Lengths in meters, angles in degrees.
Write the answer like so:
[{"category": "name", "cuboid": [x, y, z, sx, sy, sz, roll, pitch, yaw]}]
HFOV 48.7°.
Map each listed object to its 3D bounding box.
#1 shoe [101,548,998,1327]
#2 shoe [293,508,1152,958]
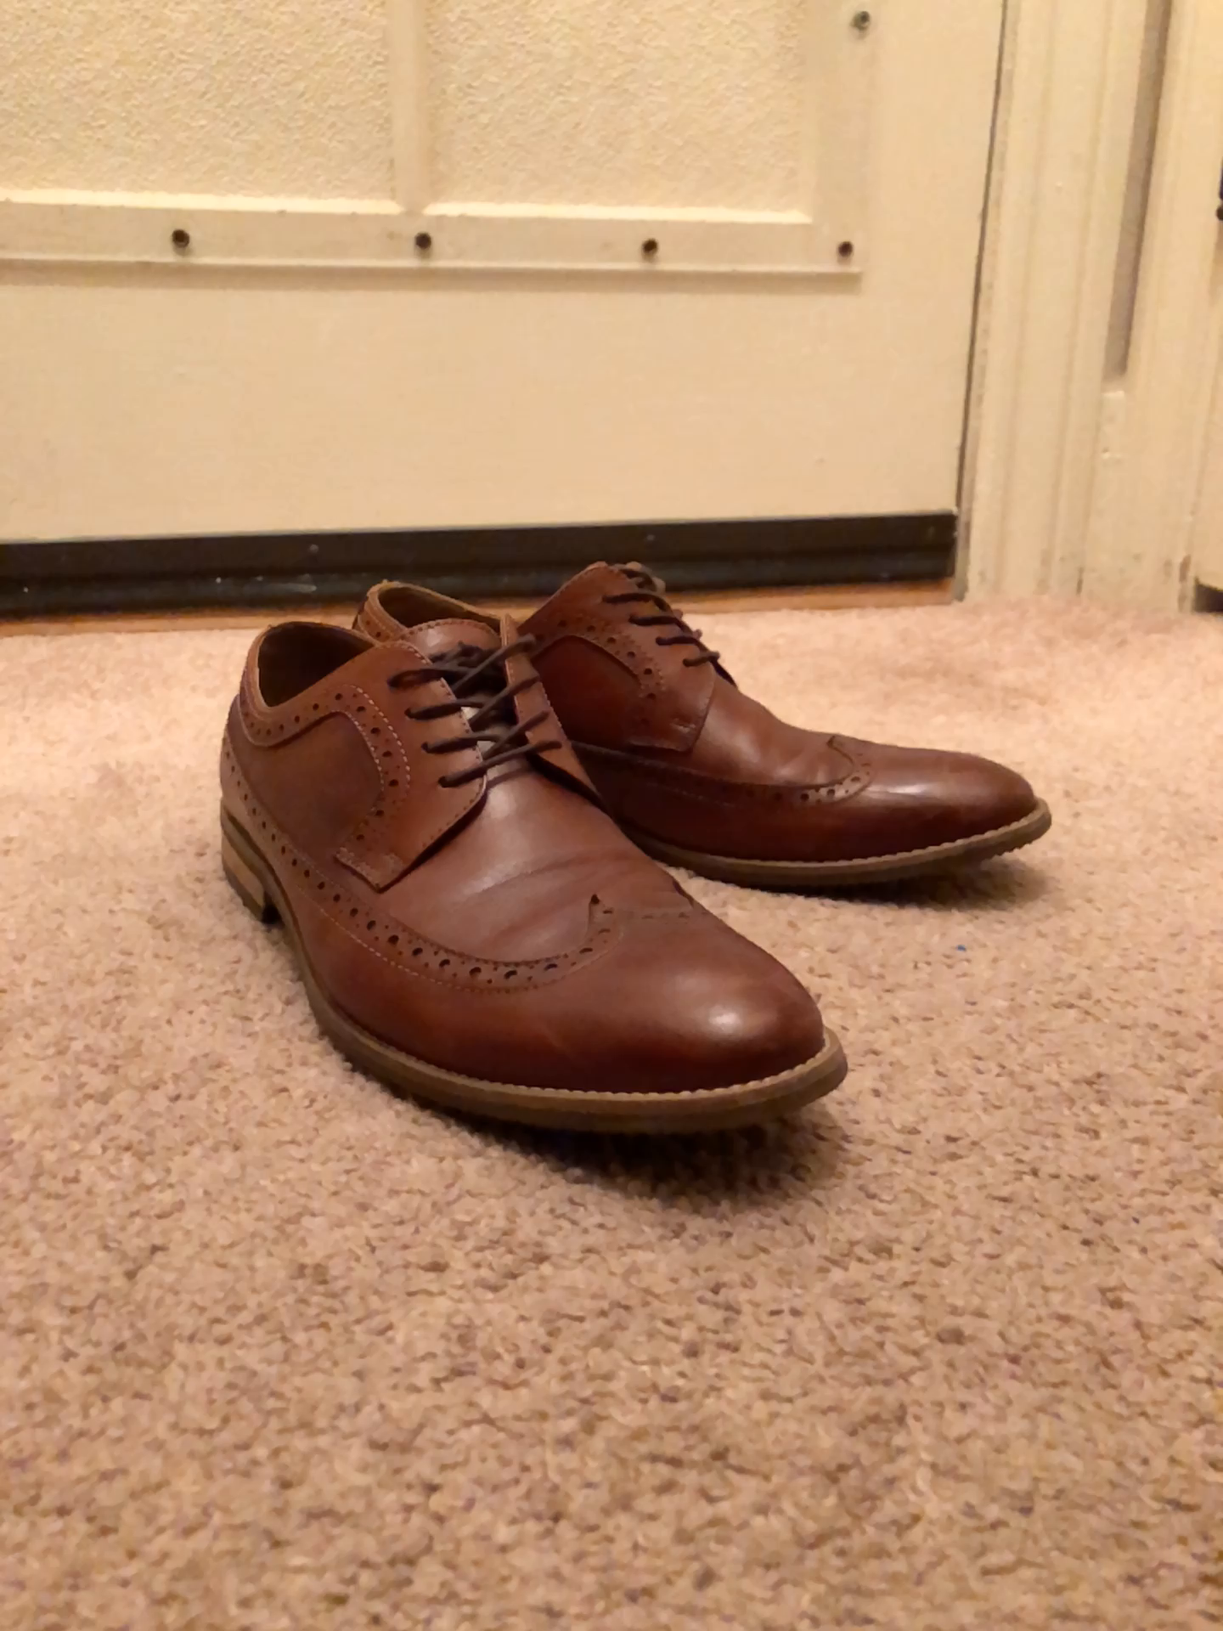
[{"category": "shoe", "cuboid": [-0.048, 0.000, 0.419, 0.115, 0.114, 0.311, -13, 24, -33]}, {"category": "shoe", "cuboid": [0.038, -0.048, 0.540, 0.310, 0.114, 0.115, 10, 22, 24]}]
